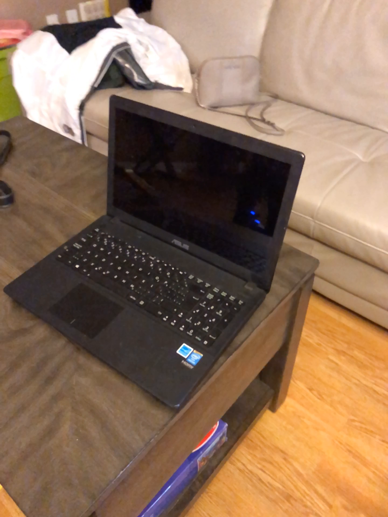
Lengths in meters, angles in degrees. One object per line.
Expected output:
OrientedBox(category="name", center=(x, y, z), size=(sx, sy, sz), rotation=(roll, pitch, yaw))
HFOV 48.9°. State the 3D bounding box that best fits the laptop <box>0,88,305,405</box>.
OrientedBox(category="laptop", center=(-0.075, -0.054, 0.659), size=(0.356, 0.216, 0.316), rotation=(26, 51, 26))
